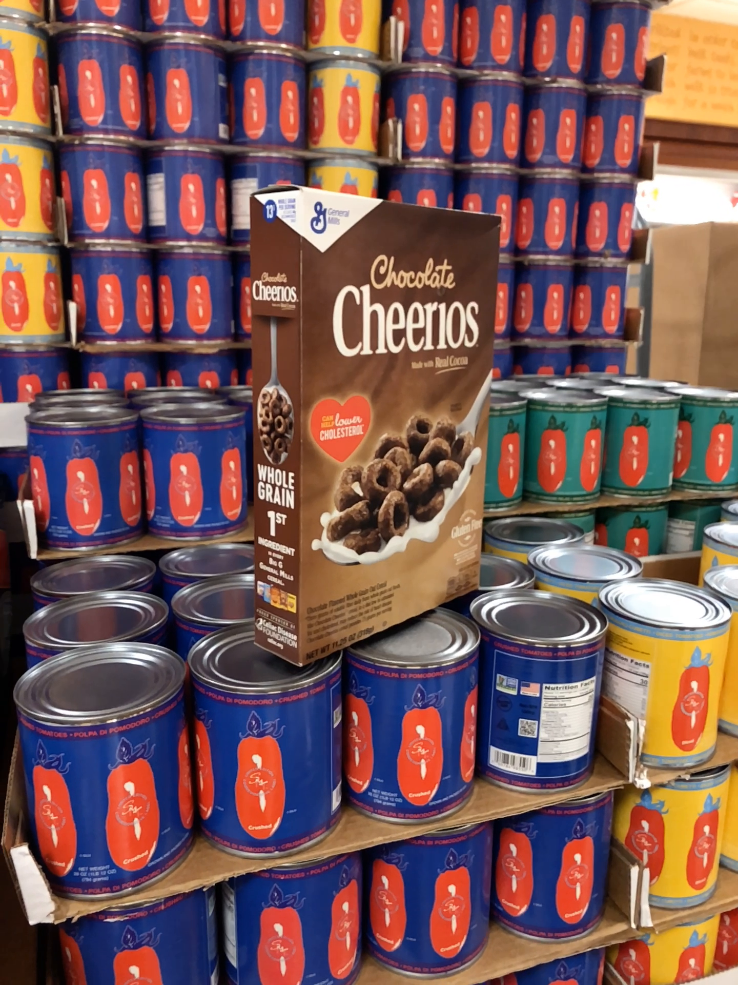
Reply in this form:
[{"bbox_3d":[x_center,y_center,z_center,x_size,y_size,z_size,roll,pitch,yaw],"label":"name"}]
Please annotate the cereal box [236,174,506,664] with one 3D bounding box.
[{"bbox_3d":[0.010,-0.055,0.556,0.050,0.279,0.211,11,17,39],"label":"cereal box"}]
